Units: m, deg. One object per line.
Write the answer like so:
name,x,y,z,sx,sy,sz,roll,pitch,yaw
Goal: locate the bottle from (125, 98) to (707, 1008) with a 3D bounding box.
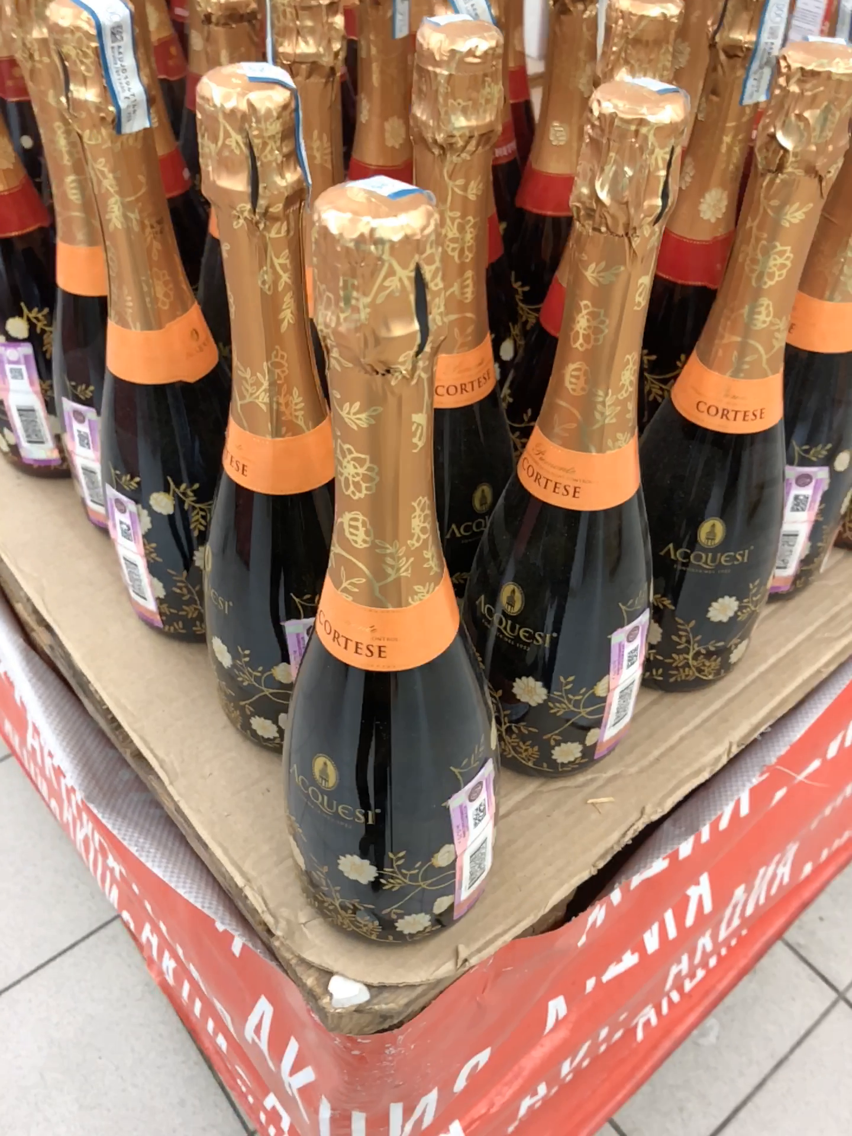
bottle,-0.003,0.025,0.339,0.100,0.318,0.100,1,45,-1
